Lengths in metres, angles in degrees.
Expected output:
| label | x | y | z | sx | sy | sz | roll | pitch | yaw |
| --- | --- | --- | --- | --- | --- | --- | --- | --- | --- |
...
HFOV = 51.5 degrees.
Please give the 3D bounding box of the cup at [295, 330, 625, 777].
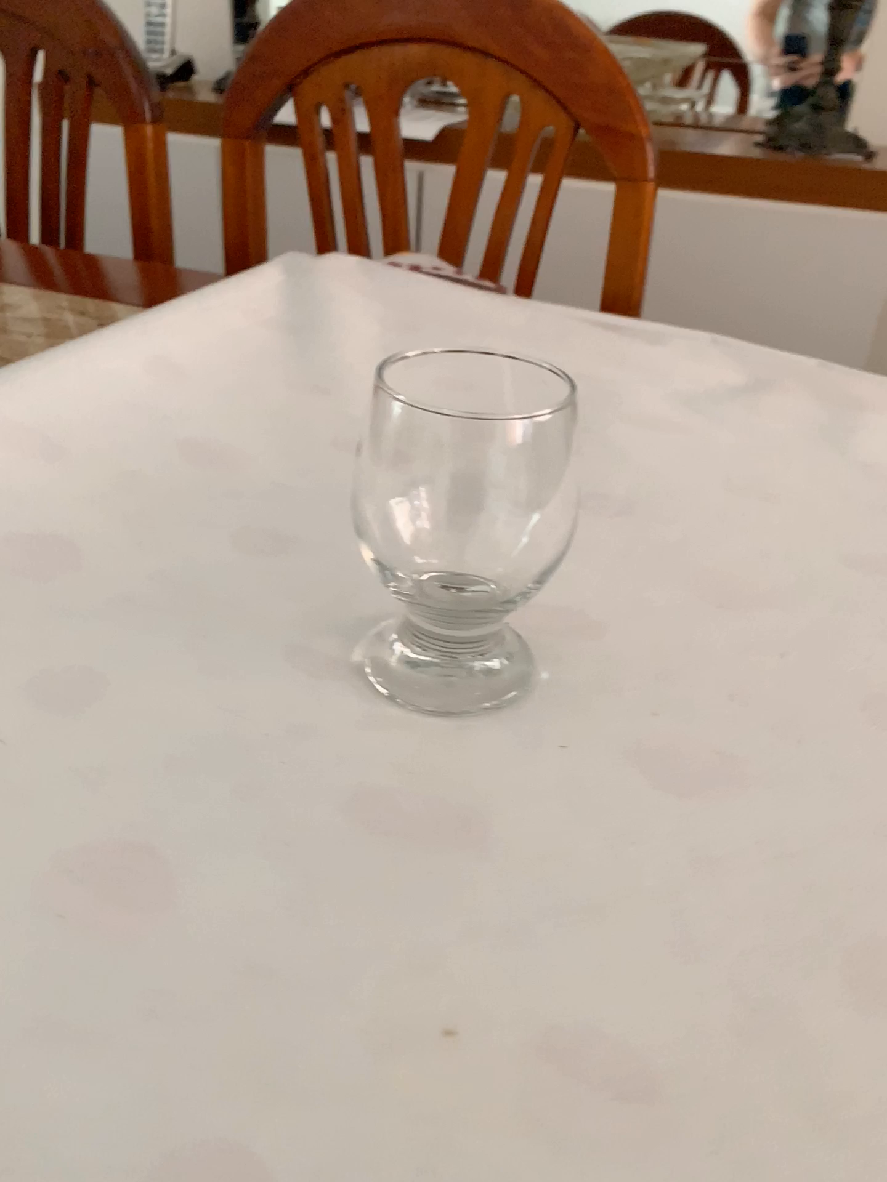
| label | x | y | z | sx | sy | sz | roll | pitch | yaw |
| --- | --- | --- | --- | --- | --- | --- | --- | --- | --- |
| cup | 0.005 | -0.016 | 0.312 | 0.080 | 0.112 | 0.080 | 3 | 32 | -2 |
